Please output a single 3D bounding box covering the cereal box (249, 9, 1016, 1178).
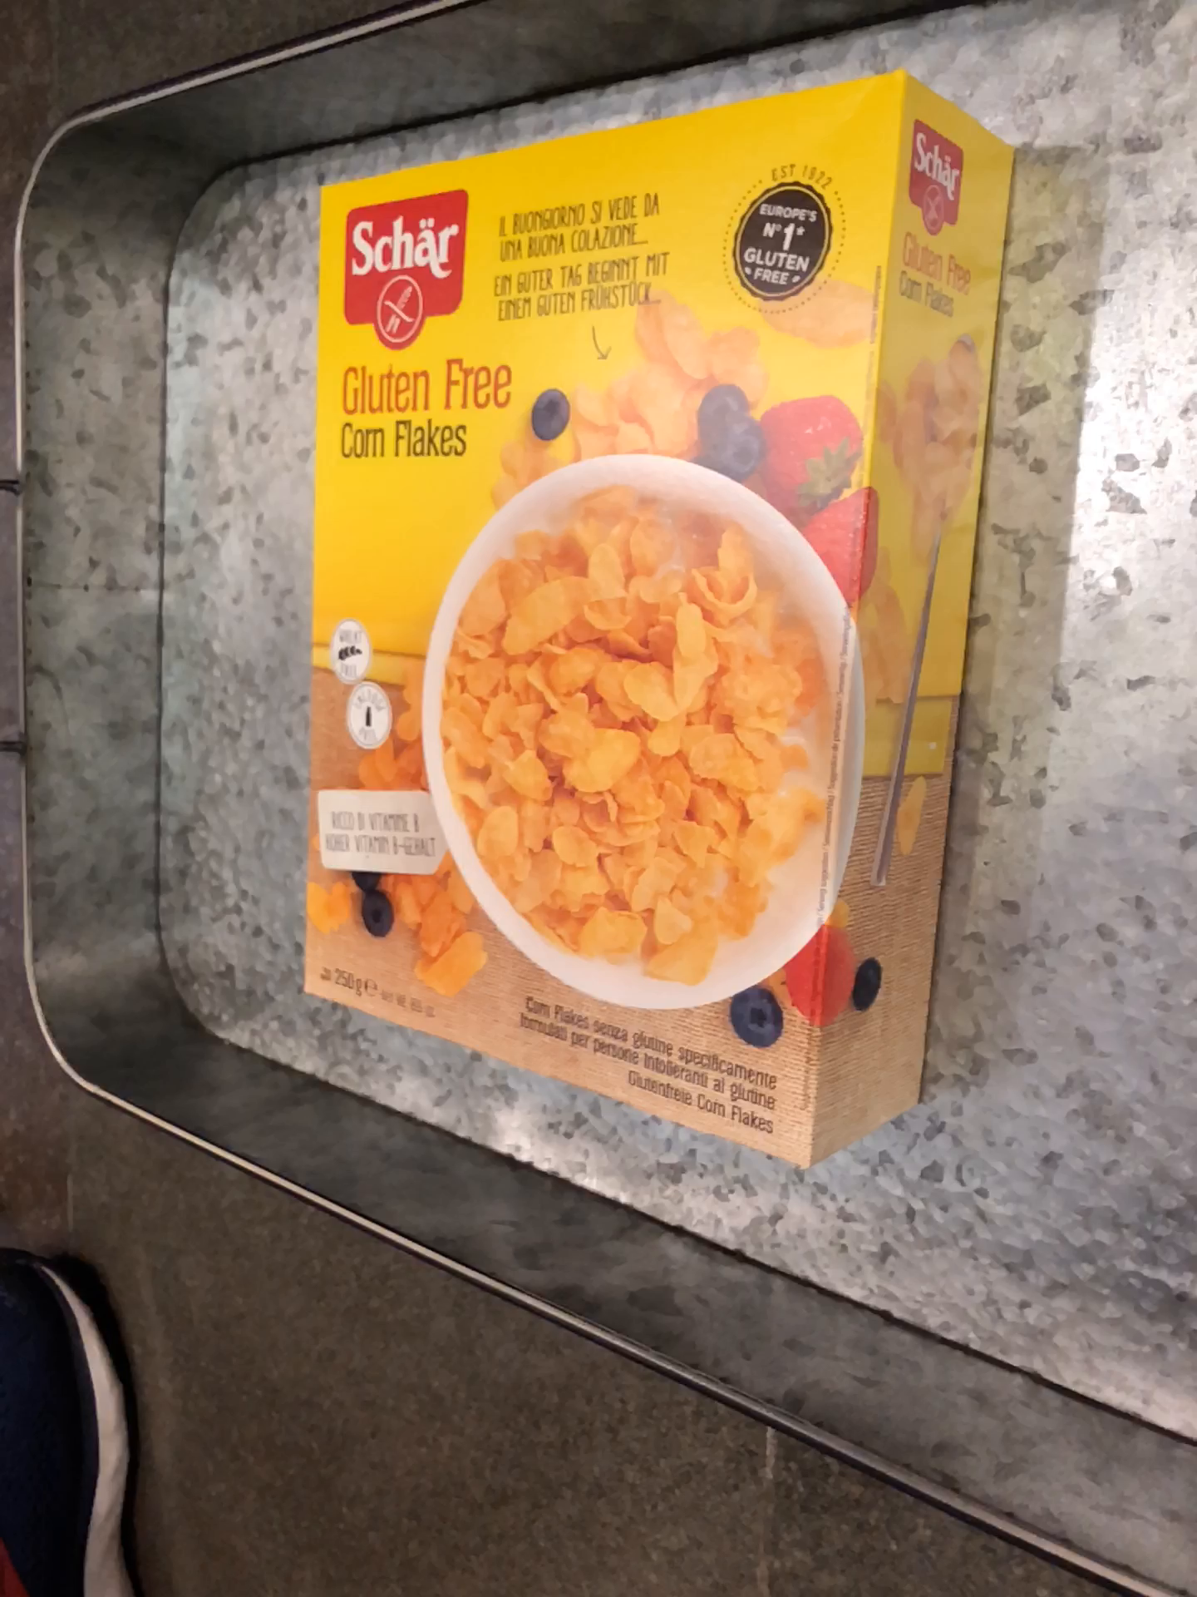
[{"bbox_3d":[-0.006,-0.053,0.375,0.201,0.070,0.250,10,102,37],"label":"cereal box"}]
